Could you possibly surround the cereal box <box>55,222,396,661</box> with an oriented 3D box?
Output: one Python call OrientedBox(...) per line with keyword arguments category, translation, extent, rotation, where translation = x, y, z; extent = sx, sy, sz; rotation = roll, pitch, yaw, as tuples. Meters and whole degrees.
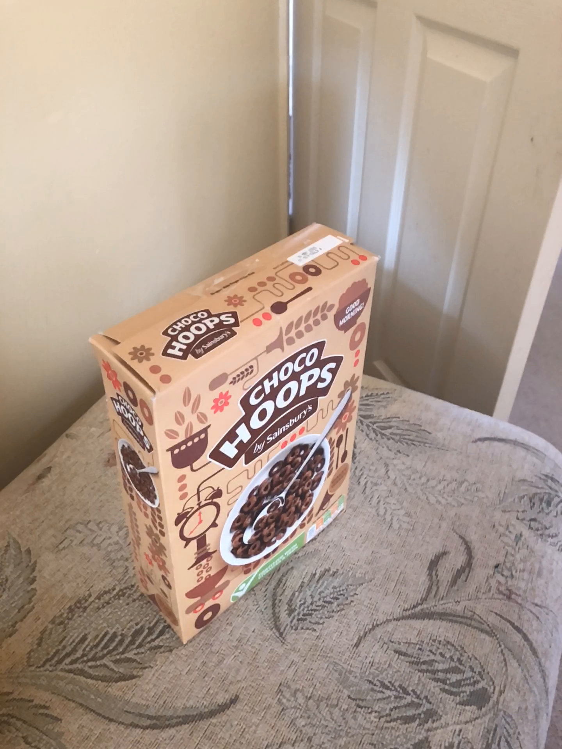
OrientedBox(category="cereal box", translation=(-0.026, 0.052, 0.469), extent=(0.080, 0.258, 0.211), rotation=(33, 49, 32))
